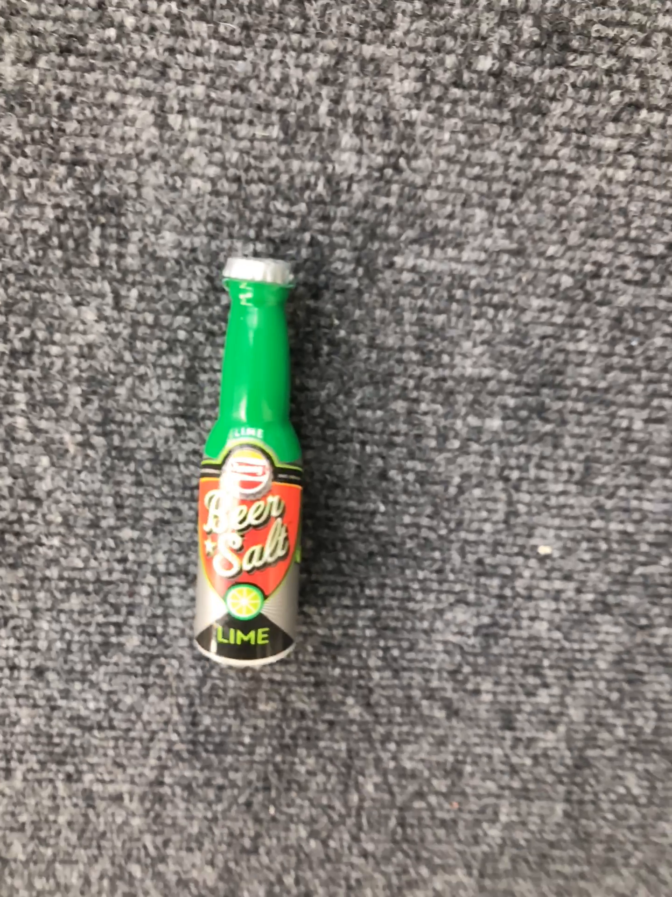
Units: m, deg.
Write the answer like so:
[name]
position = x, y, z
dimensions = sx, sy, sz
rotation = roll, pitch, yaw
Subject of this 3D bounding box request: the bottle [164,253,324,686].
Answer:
[bottle]
position = -0.023, 0.006, 0.187
dimensions = 0.033, 0.030, 0.101
rotation = 2, 108, -5
